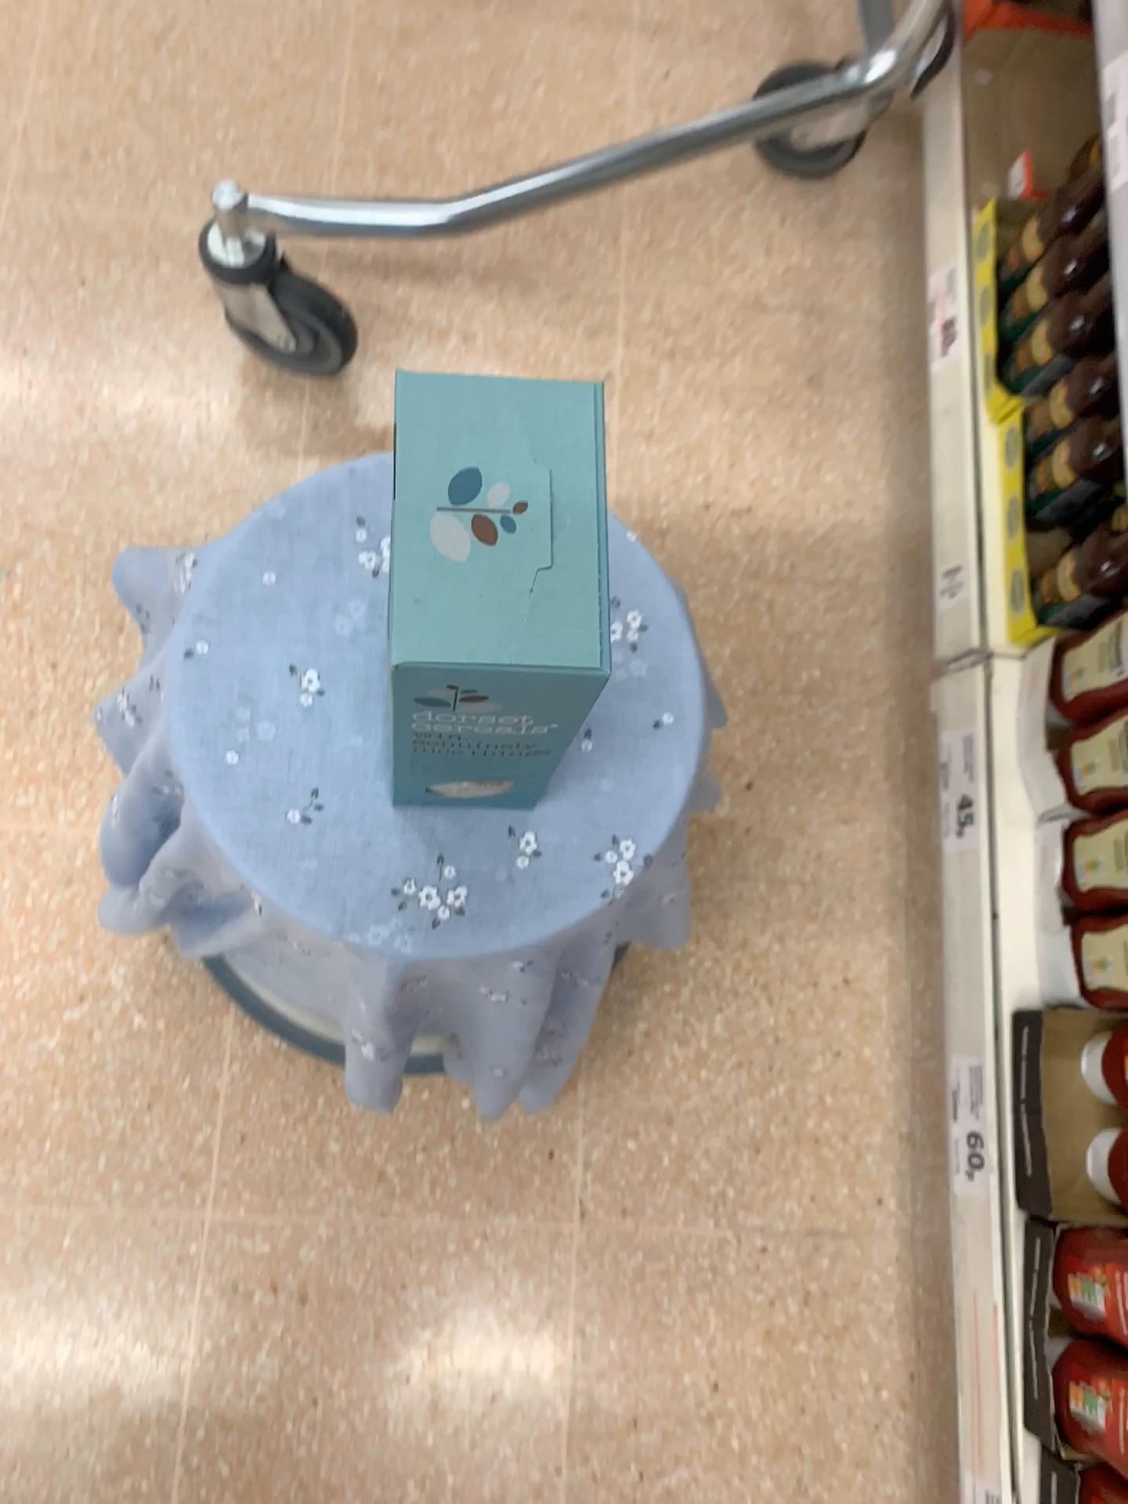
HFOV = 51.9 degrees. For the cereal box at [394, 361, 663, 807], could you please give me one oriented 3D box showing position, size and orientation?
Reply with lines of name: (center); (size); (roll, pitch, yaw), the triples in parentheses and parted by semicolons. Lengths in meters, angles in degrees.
cereal box: (-0.030, -0.056, 0.528); (0.090, 0.239, 0.120); (0, 77, -9)
